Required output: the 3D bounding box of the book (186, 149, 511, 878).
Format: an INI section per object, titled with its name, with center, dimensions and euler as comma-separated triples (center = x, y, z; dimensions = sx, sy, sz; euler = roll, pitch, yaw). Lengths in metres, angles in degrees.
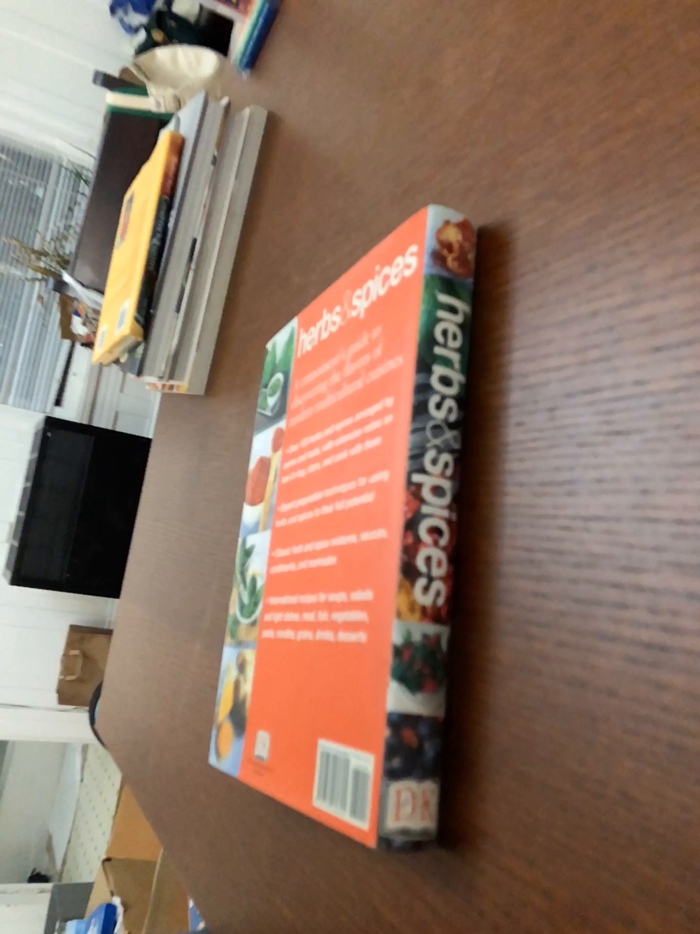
[book]
center = -0.011, 0.023, 0.380
dimensions = 0.211, 0.040, 0.270
euler = -20, 61, 61
